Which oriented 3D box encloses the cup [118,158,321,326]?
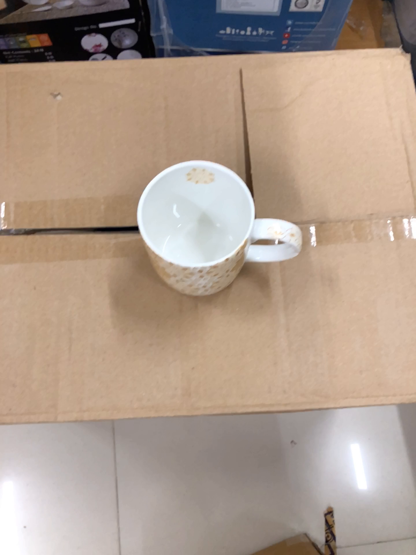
[{"bbox_3d":[0.009,-0.020,0.332,0.120,0.090,0.080,6,72,1],"label":"cup"}]
